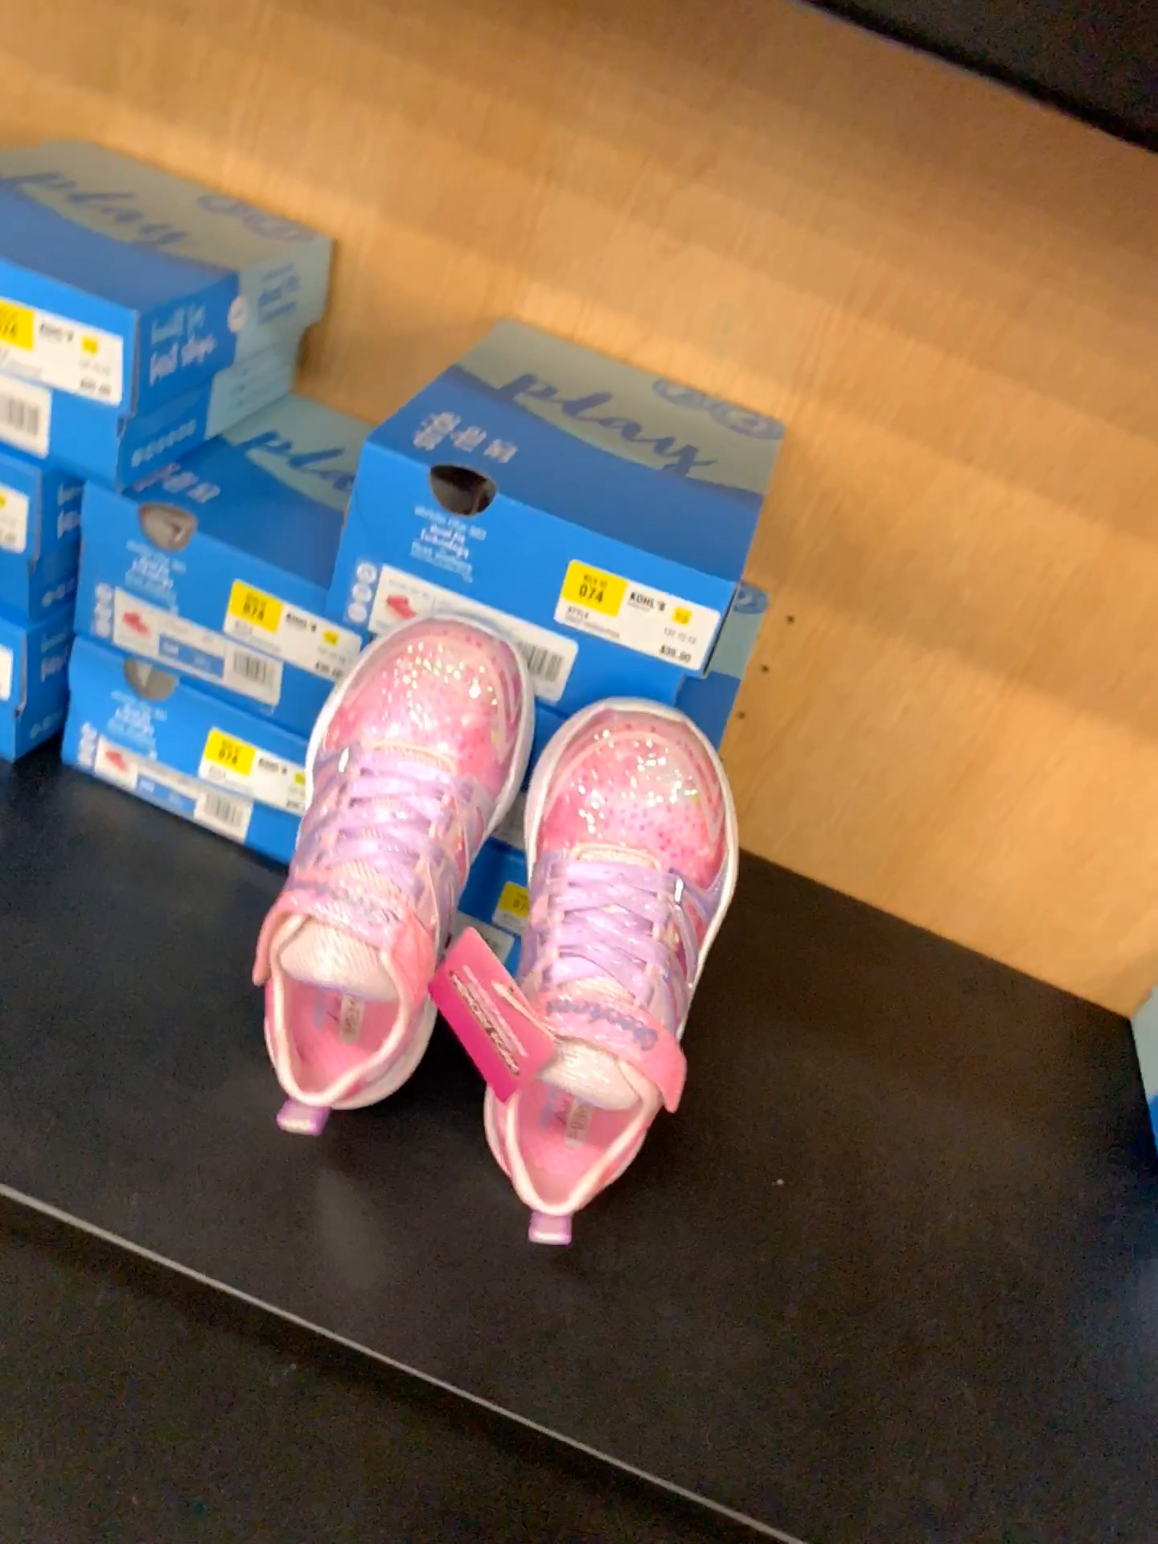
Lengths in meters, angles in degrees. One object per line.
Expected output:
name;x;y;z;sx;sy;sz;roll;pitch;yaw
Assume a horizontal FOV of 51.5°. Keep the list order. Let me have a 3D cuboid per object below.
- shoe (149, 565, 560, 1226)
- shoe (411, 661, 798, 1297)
shoe;-0.080;0.040;0.439;0.090;0.209;0.080;15;13;5
shoe;0.007;0.072;0.440;0.090;0.199;0.080;12;14;1
